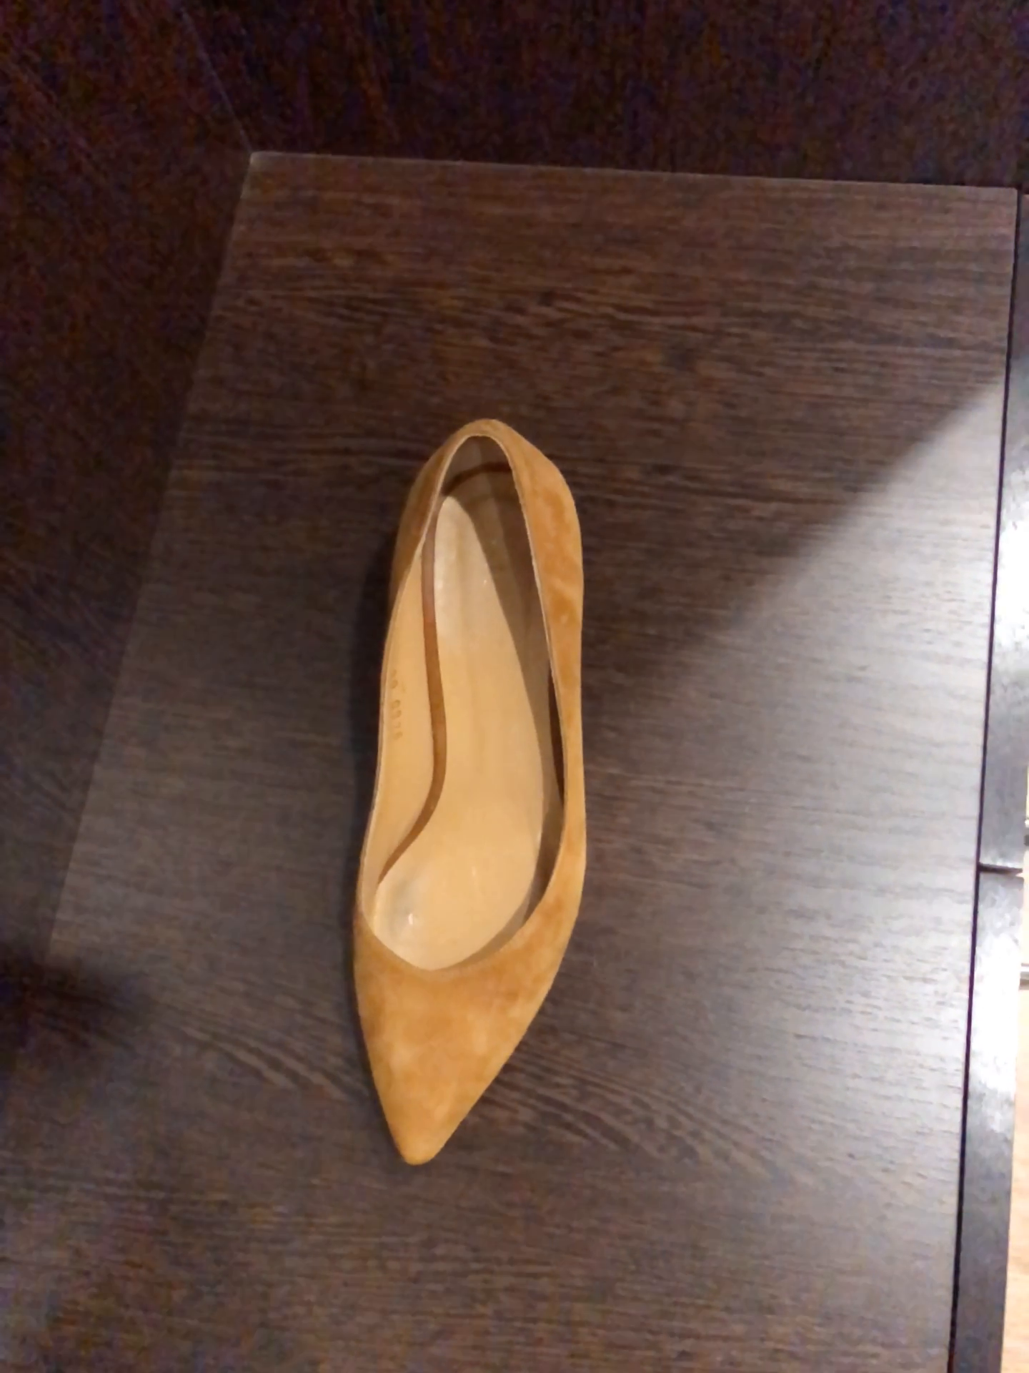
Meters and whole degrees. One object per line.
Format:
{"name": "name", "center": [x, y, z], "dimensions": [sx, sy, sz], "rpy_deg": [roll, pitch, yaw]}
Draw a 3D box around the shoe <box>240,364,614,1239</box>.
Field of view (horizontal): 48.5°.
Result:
{"name": "shoe", "center": [-0.018, 0.034, 0.403], "dimensions": [0.090, 0.100, 0.270], "rpy_deg": [2, 75, 8]}
